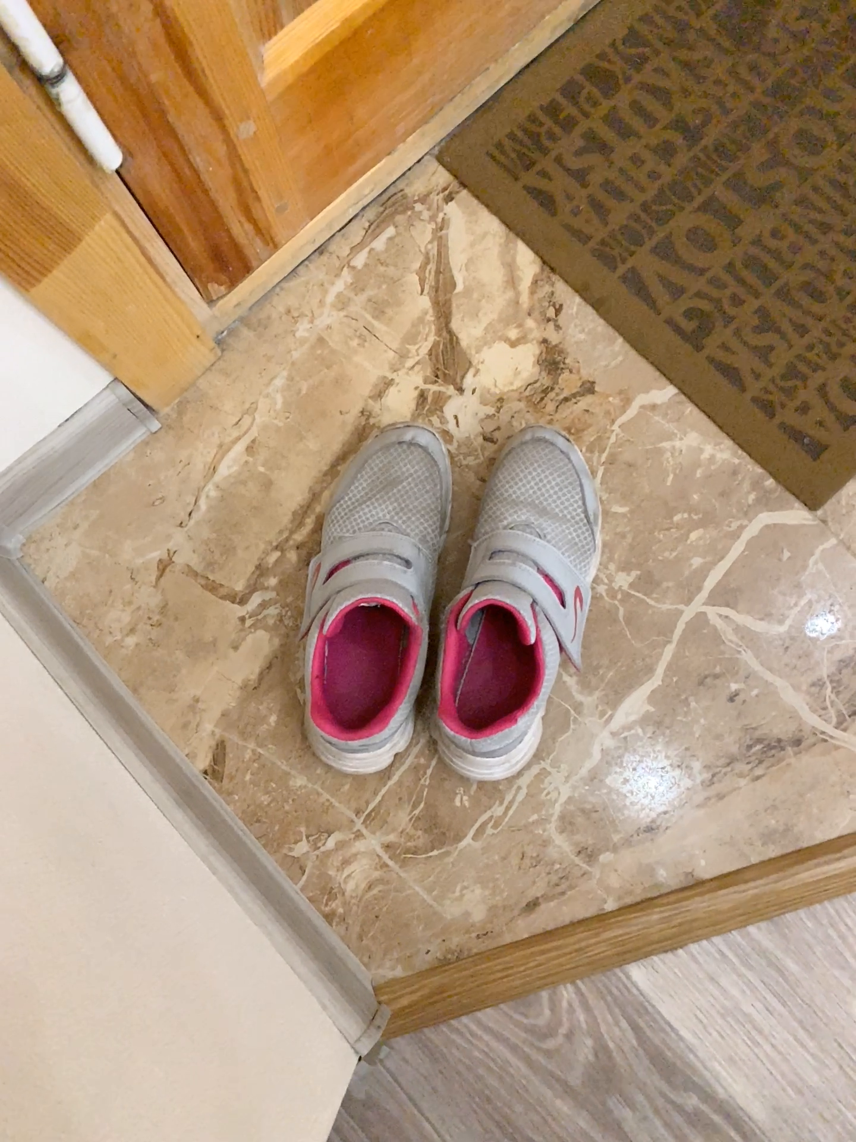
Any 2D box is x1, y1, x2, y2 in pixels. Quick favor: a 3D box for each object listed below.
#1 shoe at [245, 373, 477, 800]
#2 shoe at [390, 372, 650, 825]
[{"bbox_3d":[-0.036,0.012,0.582,0.100,0.100,0.250,8,81,5],"label":"shoe"},{"bbox_3d":[0.061,0.019,0.580,0.100,0.100,0.260,13,82,6],"label":"shoe"}]
